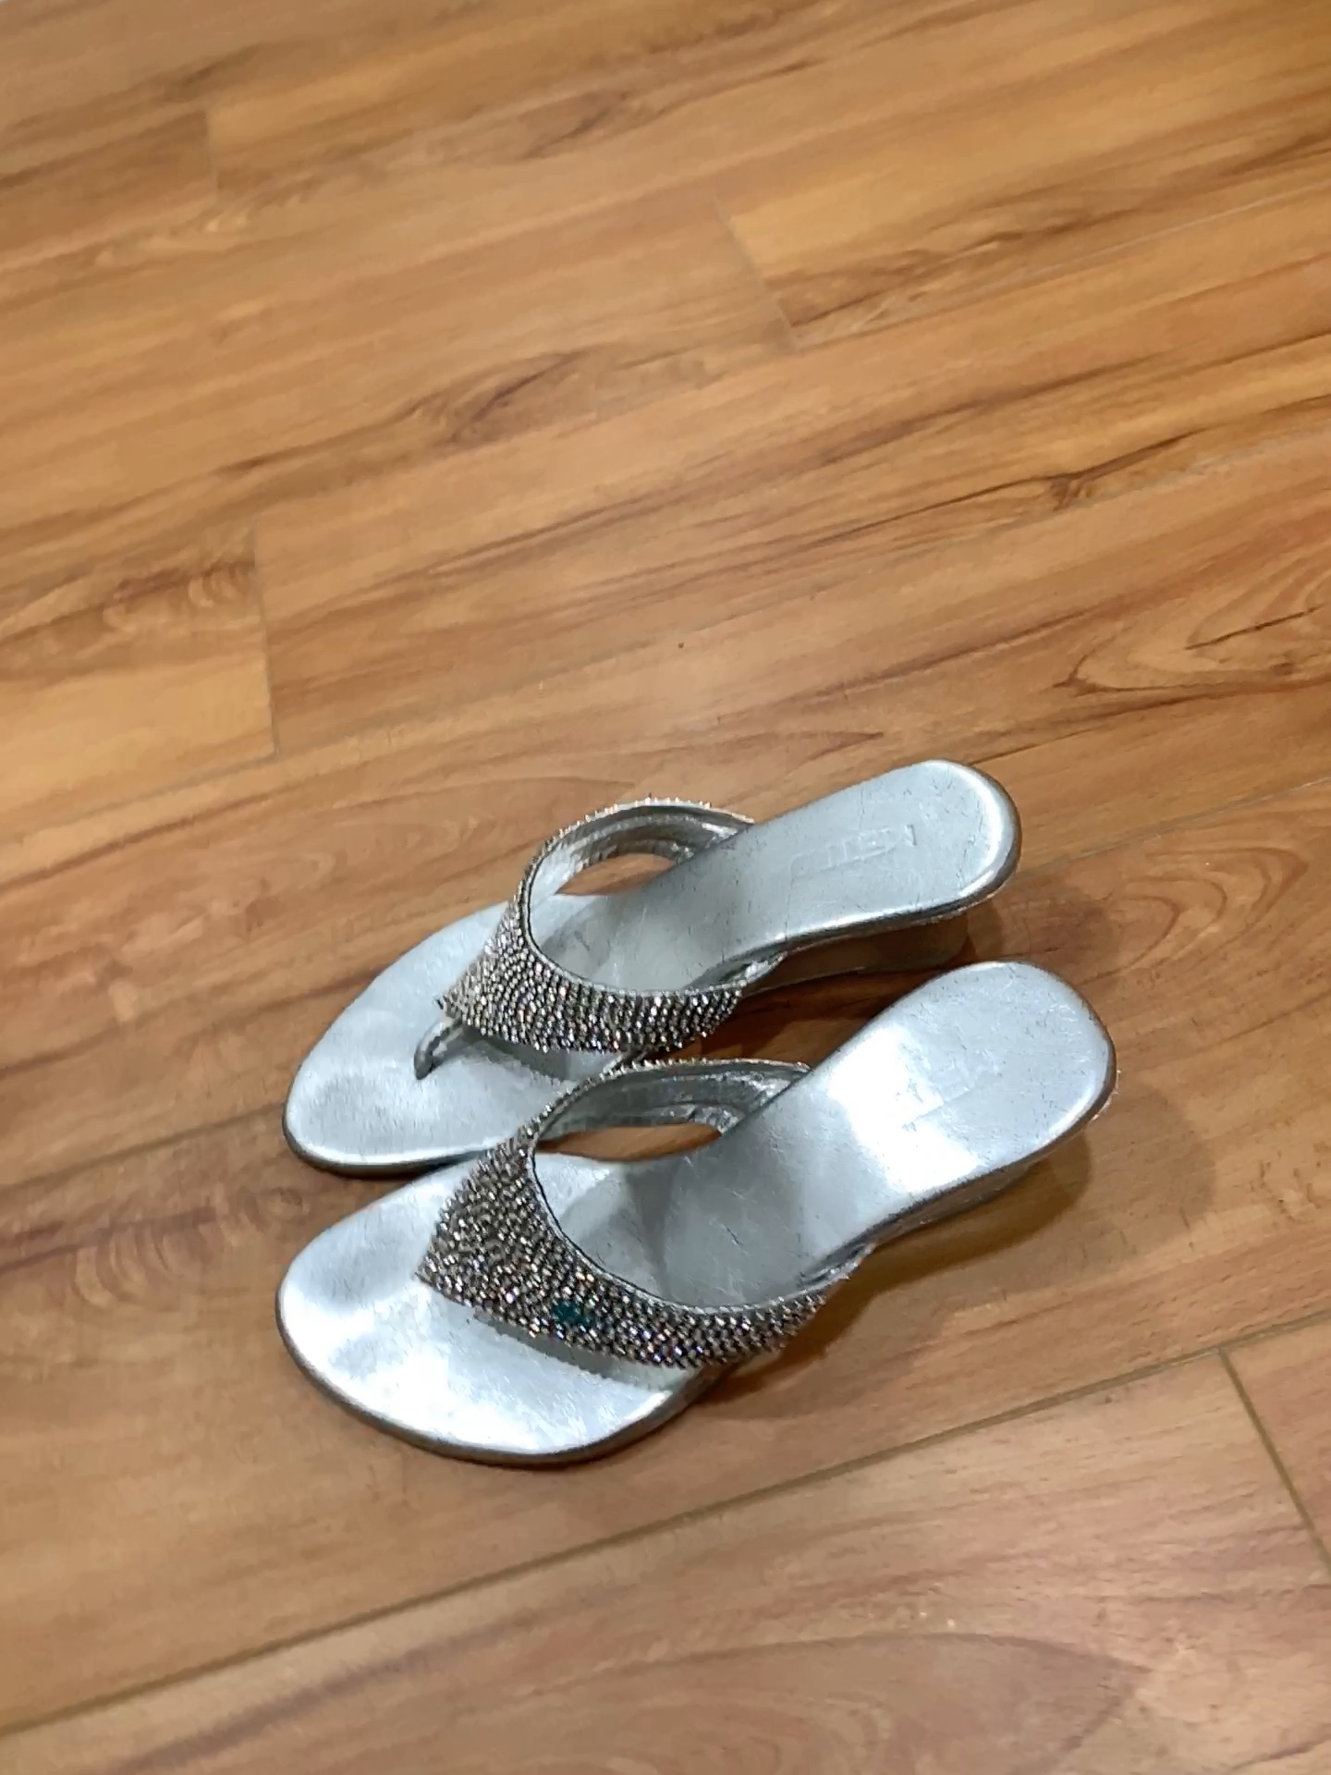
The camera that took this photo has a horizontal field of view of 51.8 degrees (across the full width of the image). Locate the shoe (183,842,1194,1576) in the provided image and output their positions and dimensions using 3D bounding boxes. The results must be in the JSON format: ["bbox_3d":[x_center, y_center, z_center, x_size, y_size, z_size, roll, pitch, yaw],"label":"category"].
[{"bbox_3d":[0.003,0.083,0.358,0.228,0.073,0.096,-20,52,-2],"label":"shoe"}]

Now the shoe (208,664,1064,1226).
[{"bbox_3d":[-0.010,0.018,0.407,0.228,0.073,0.086,-15,52,1],"label":"shoe"}]
